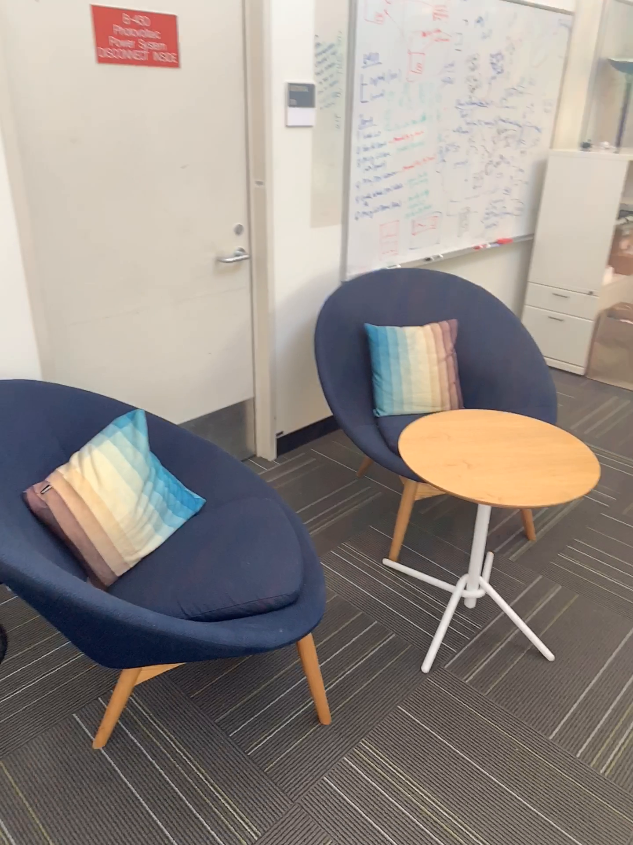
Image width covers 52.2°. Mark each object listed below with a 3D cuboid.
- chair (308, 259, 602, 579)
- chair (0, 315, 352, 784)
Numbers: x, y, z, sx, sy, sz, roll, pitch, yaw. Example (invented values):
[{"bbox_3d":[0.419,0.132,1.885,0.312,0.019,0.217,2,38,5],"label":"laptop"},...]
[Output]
[{"bbox_3d":[0.425,-0.081,2.628,0.830,0.944,0.986,-1,26,-5],"label":"chair"},{"bbox_3d":[-0.412,0.251,1.695,0.840,0.835,0.795,-3,26,-8],"label":"chair"}]
